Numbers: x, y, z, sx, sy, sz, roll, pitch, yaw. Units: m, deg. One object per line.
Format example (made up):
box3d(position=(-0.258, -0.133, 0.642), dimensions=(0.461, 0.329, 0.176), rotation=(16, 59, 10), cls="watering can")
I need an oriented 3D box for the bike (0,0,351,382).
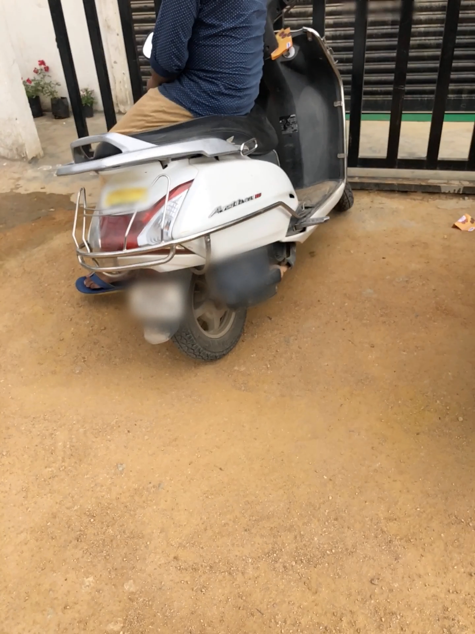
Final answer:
box3d(position=(-0.039, -0.764, 2.174), dimensions=(0.649, 1.069, 1.656), rotation=(9, 37, 19), cls="bike")
